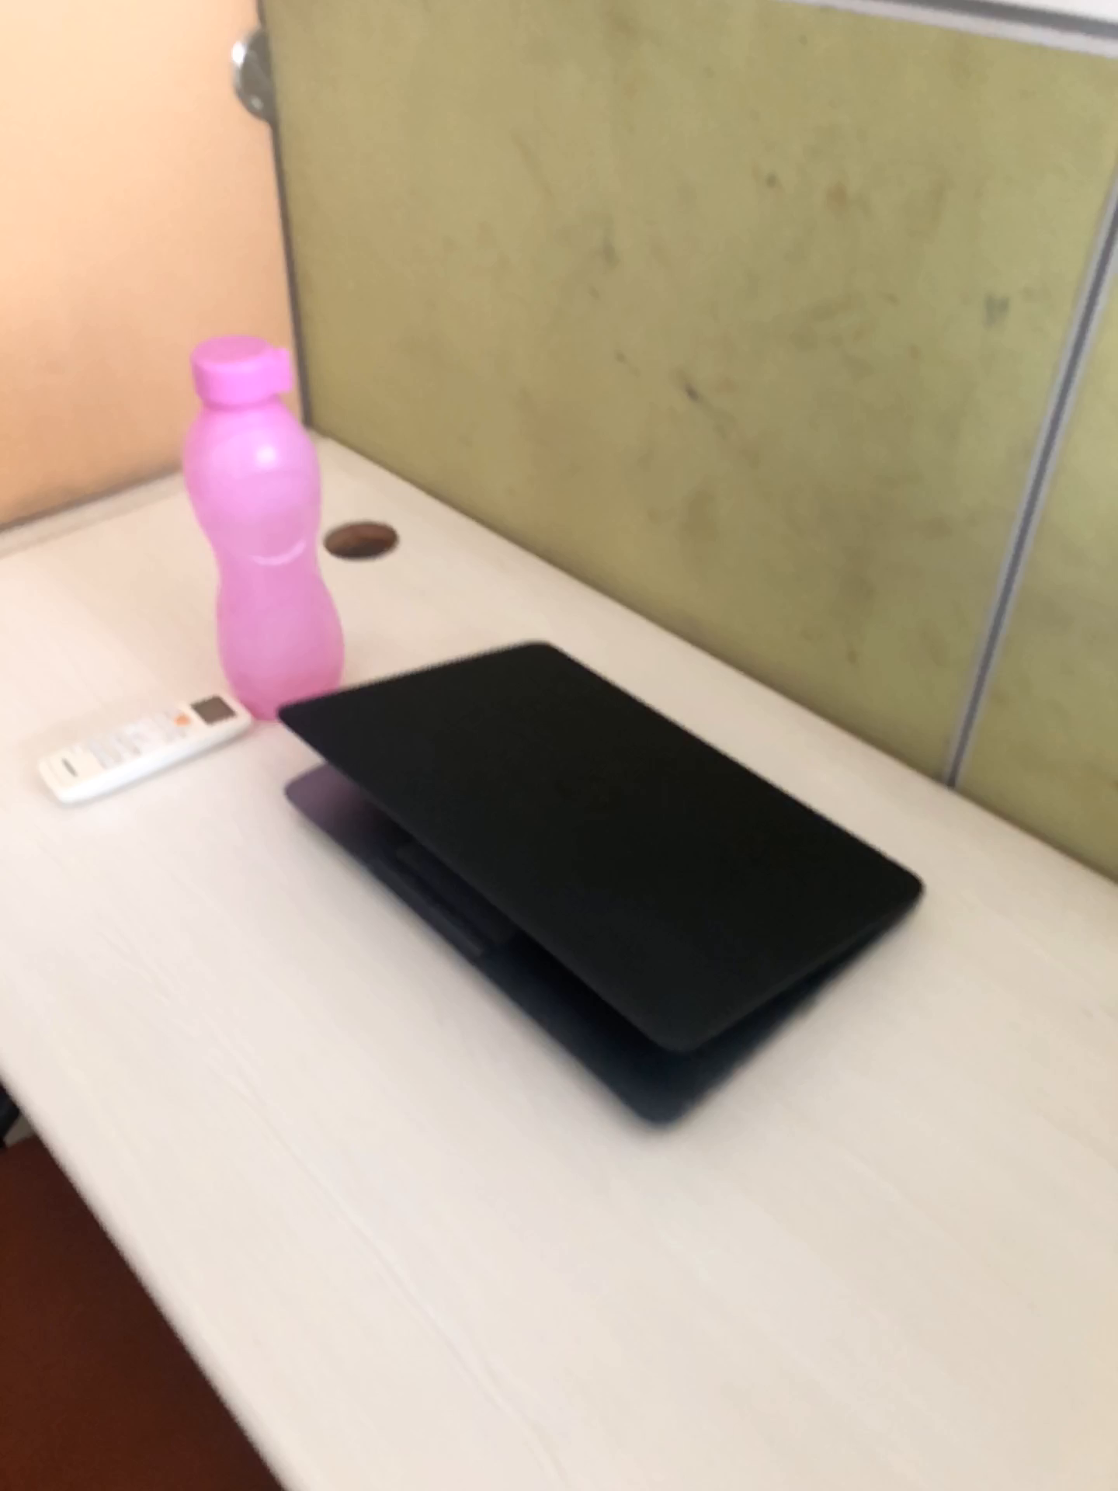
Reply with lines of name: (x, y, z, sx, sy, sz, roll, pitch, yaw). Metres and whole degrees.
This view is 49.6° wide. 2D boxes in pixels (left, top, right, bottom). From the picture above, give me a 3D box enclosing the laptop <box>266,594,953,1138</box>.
laptop: (0.018, 0.041, 0.713, 0.226, 0.050, 0.331, -31, 49, -30)
